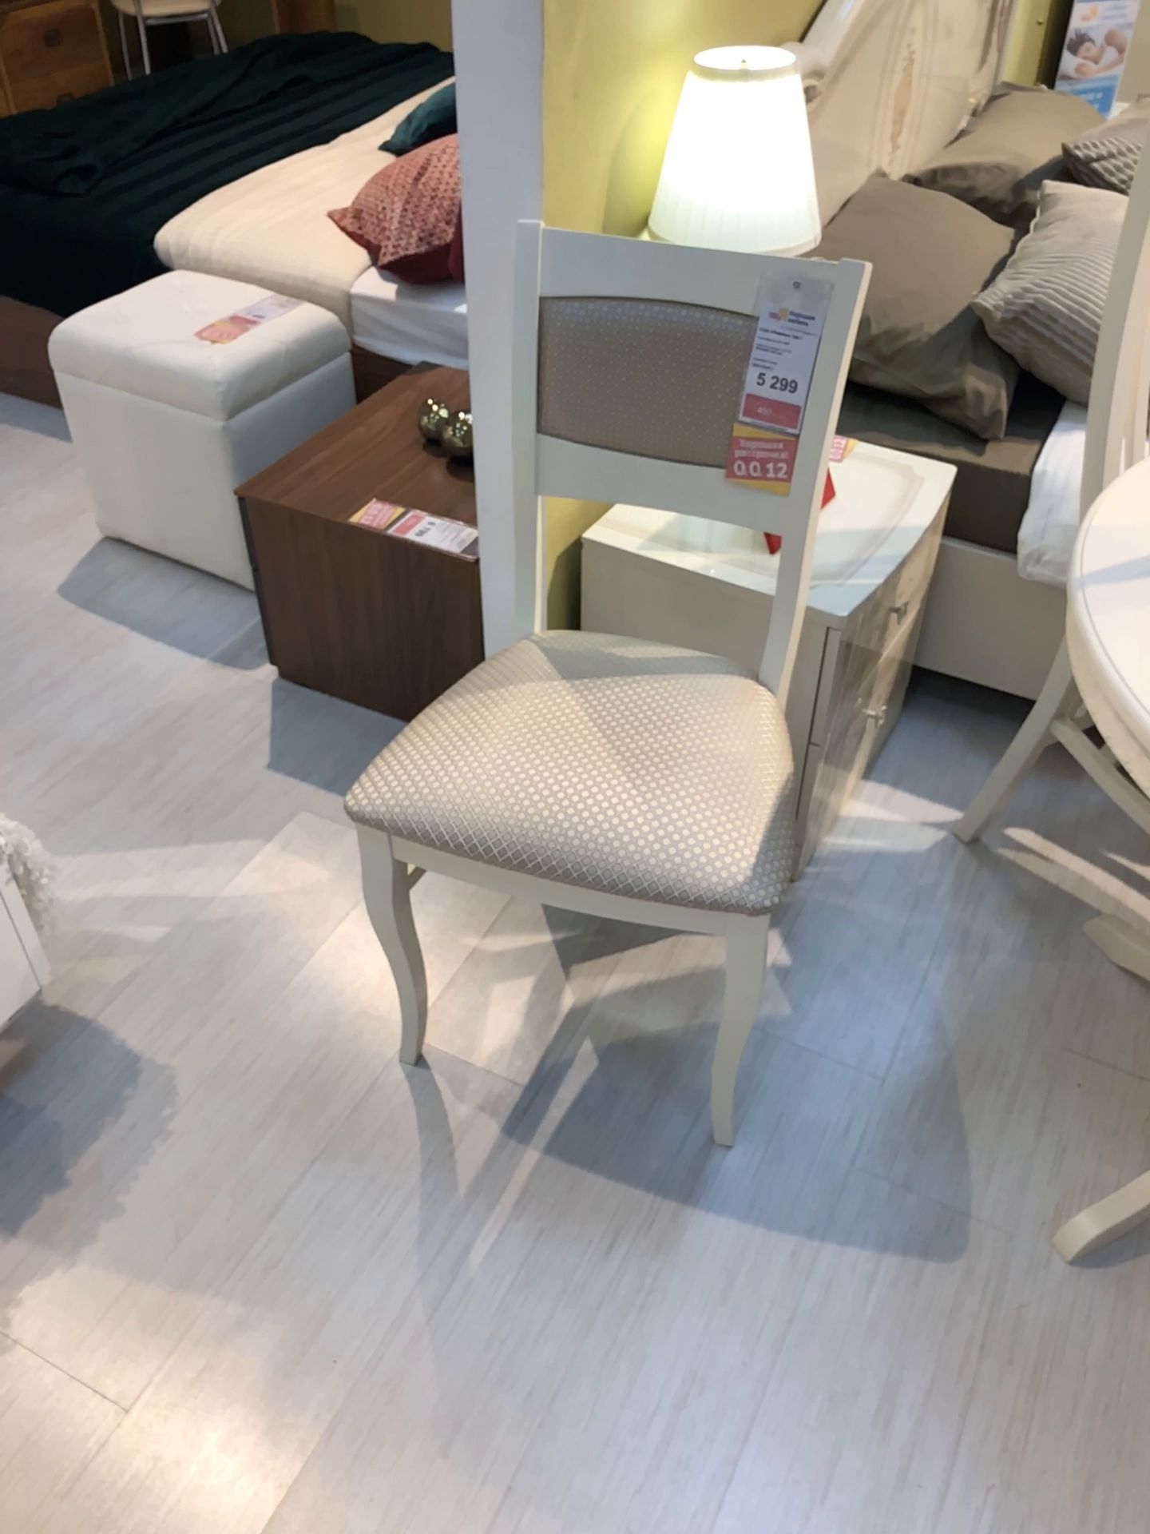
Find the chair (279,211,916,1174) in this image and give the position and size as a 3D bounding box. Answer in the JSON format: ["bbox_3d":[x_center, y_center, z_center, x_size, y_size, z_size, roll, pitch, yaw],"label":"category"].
[{"bbox_3d":[0.049,-0.055,1.476,0.470,0.945,0.474,11,42,13],"label":"chair"}]
